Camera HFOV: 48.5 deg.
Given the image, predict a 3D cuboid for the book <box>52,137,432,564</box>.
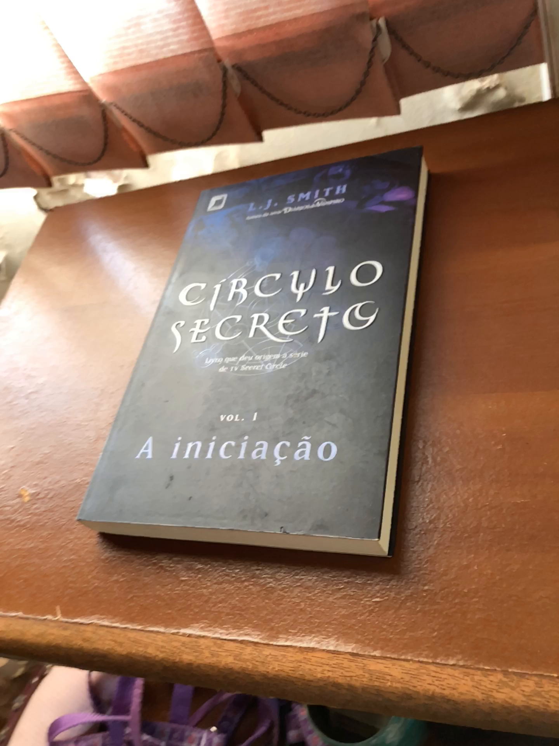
[{"bbox_3d":[-0.006,-0.024,0.298,0.140,0.024,0.214,-3,54,23],"label":"book"}]
